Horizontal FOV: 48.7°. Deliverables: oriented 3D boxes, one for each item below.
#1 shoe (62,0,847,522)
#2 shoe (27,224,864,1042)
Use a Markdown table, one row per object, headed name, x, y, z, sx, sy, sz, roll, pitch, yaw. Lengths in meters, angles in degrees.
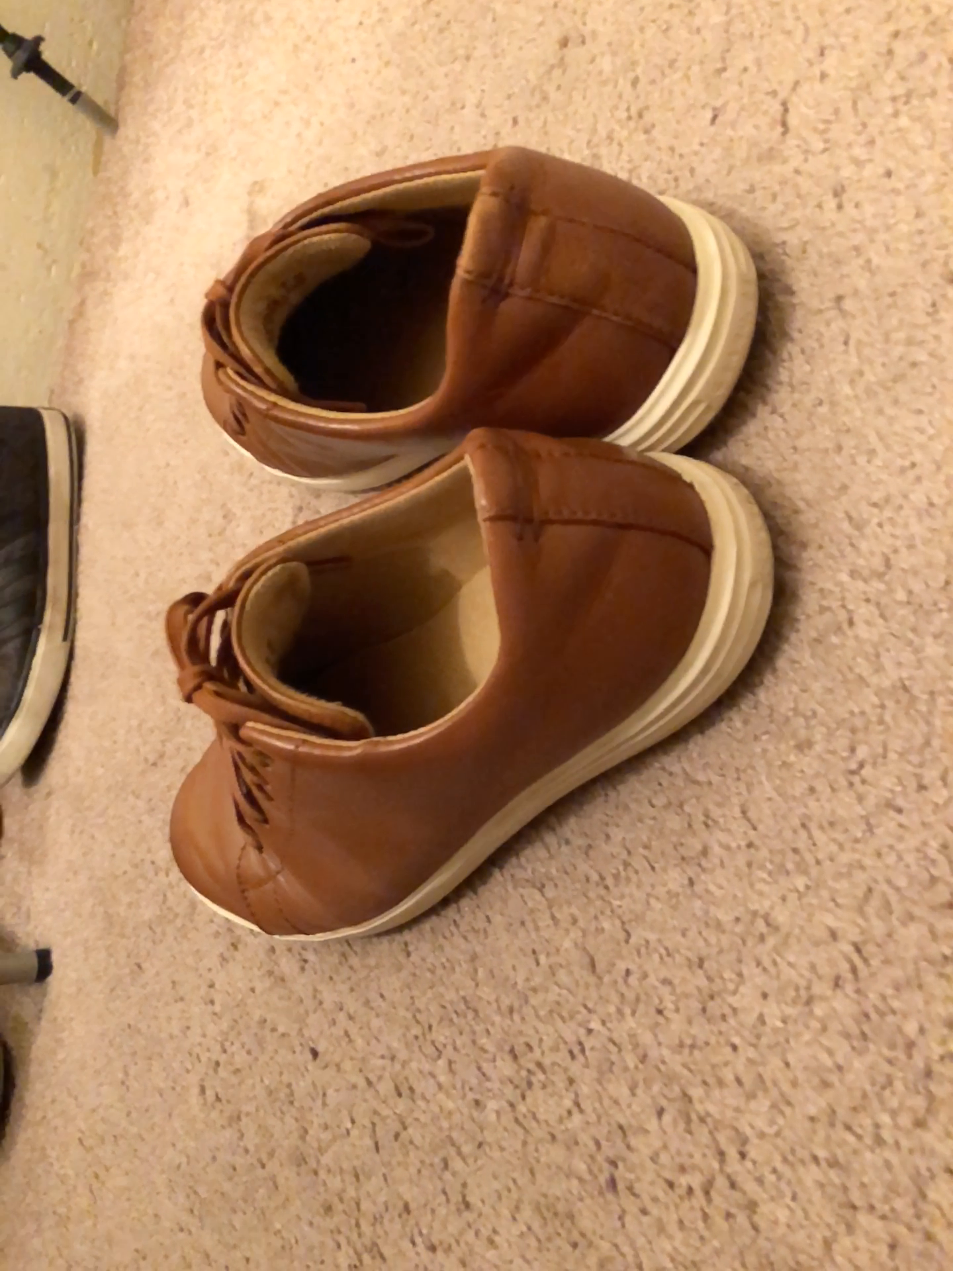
| name | x | y | z | sx | sy | sz | roll | pitch | yaw |
| --- | --- | --- | --- | --- | --- | --- | --- | --- | --- |
| shoe | -0.038 | -0.109 | 0.355 | 0.286 | 0.102 | 0.117 | 7 | 87 | 53 |
| shoe | -0.046 | 0.033 | 0.331 | 0.285 | 0.100 | 0.117 | -38 | 53 | 42 |
